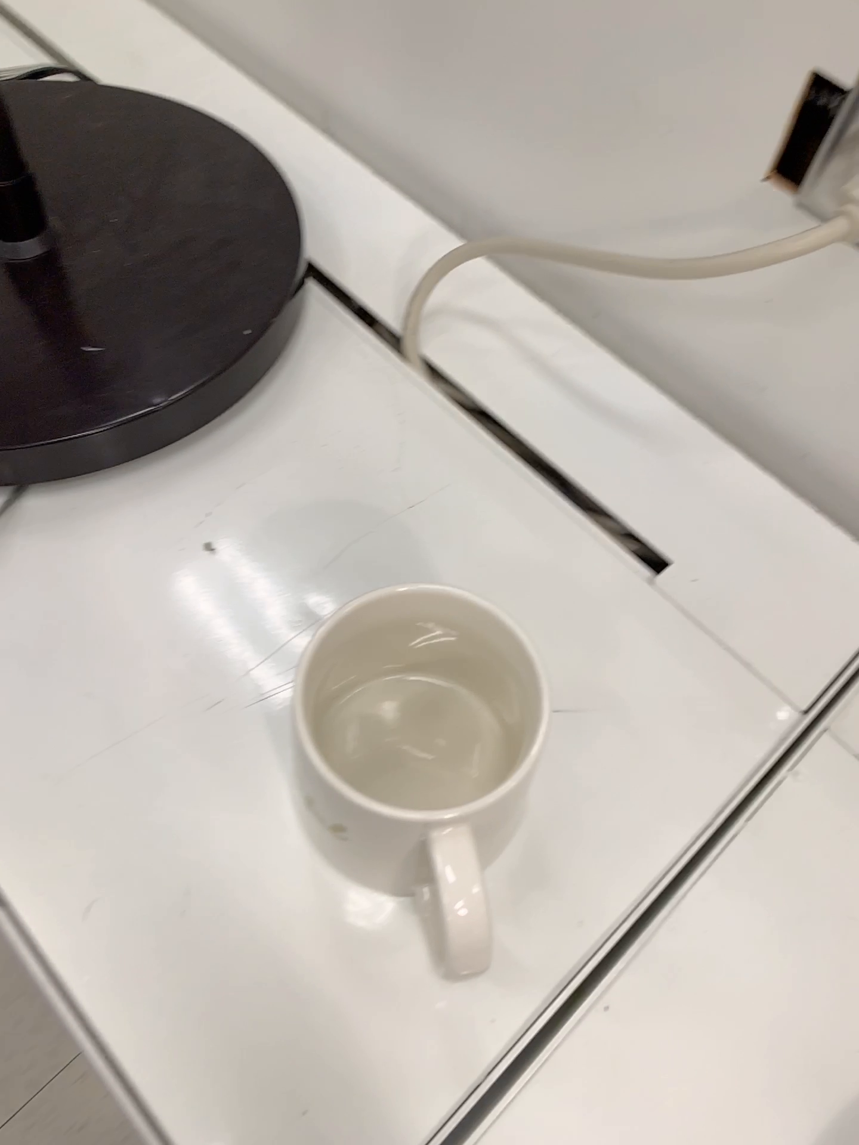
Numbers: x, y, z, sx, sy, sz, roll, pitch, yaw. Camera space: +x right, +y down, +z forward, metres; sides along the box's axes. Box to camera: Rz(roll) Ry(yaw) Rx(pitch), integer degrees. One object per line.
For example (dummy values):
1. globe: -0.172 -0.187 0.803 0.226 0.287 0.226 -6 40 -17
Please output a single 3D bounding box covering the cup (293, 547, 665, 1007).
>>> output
1. cup: 0.009 0.081 0.353 0.104 0.097 0.140 -7 57 -9
